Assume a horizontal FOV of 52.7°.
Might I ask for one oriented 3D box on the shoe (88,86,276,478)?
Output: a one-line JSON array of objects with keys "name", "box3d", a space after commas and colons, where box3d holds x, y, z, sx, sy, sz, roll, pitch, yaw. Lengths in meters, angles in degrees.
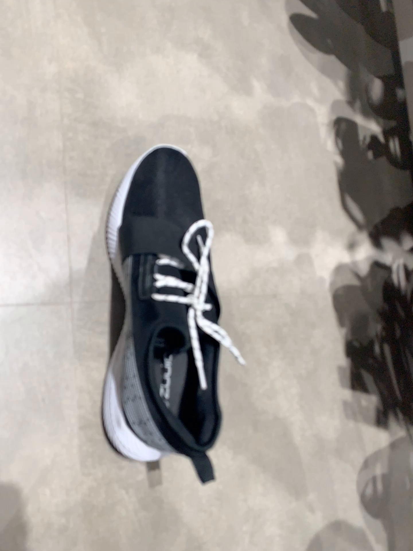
[{"name": "shoe", "box3d": [-0.030, 0.008, 0.403, 0.117, 0.131, 0.304, 7, 76, -34]}]
